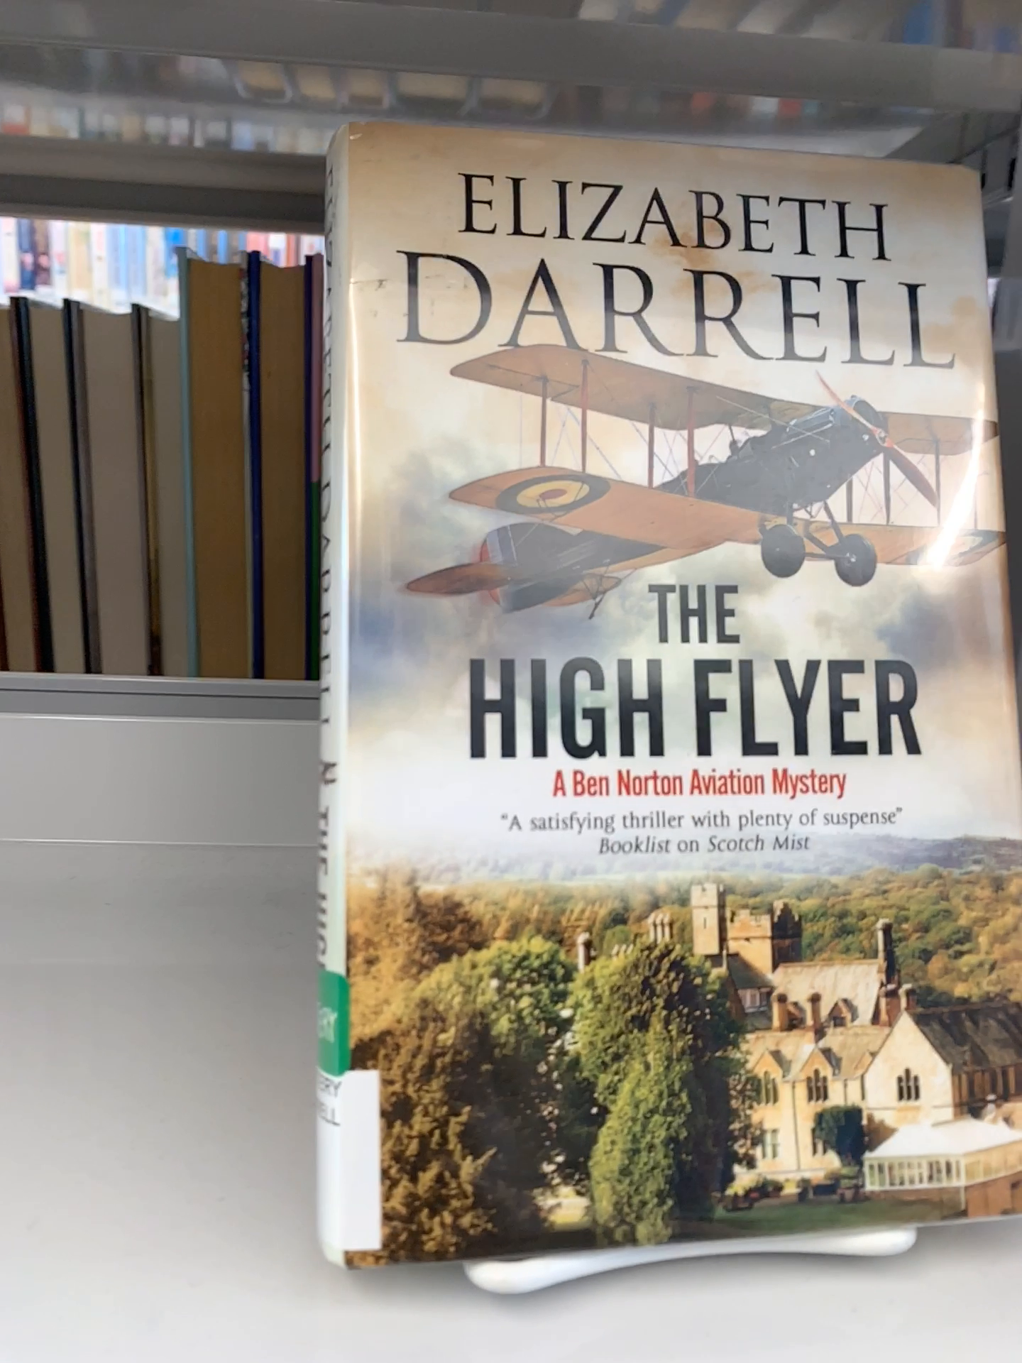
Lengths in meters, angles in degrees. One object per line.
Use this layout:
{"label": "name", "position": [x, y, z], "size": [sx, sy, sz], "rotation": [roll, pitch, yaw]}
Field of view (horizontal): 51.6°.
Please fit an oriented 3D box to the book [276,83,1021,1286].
{"label": "book", "position": [0.030, -0.003, 0.218], "size": [0.151, 0.215, 0.031], "rotation": [0, -5, -11]}
